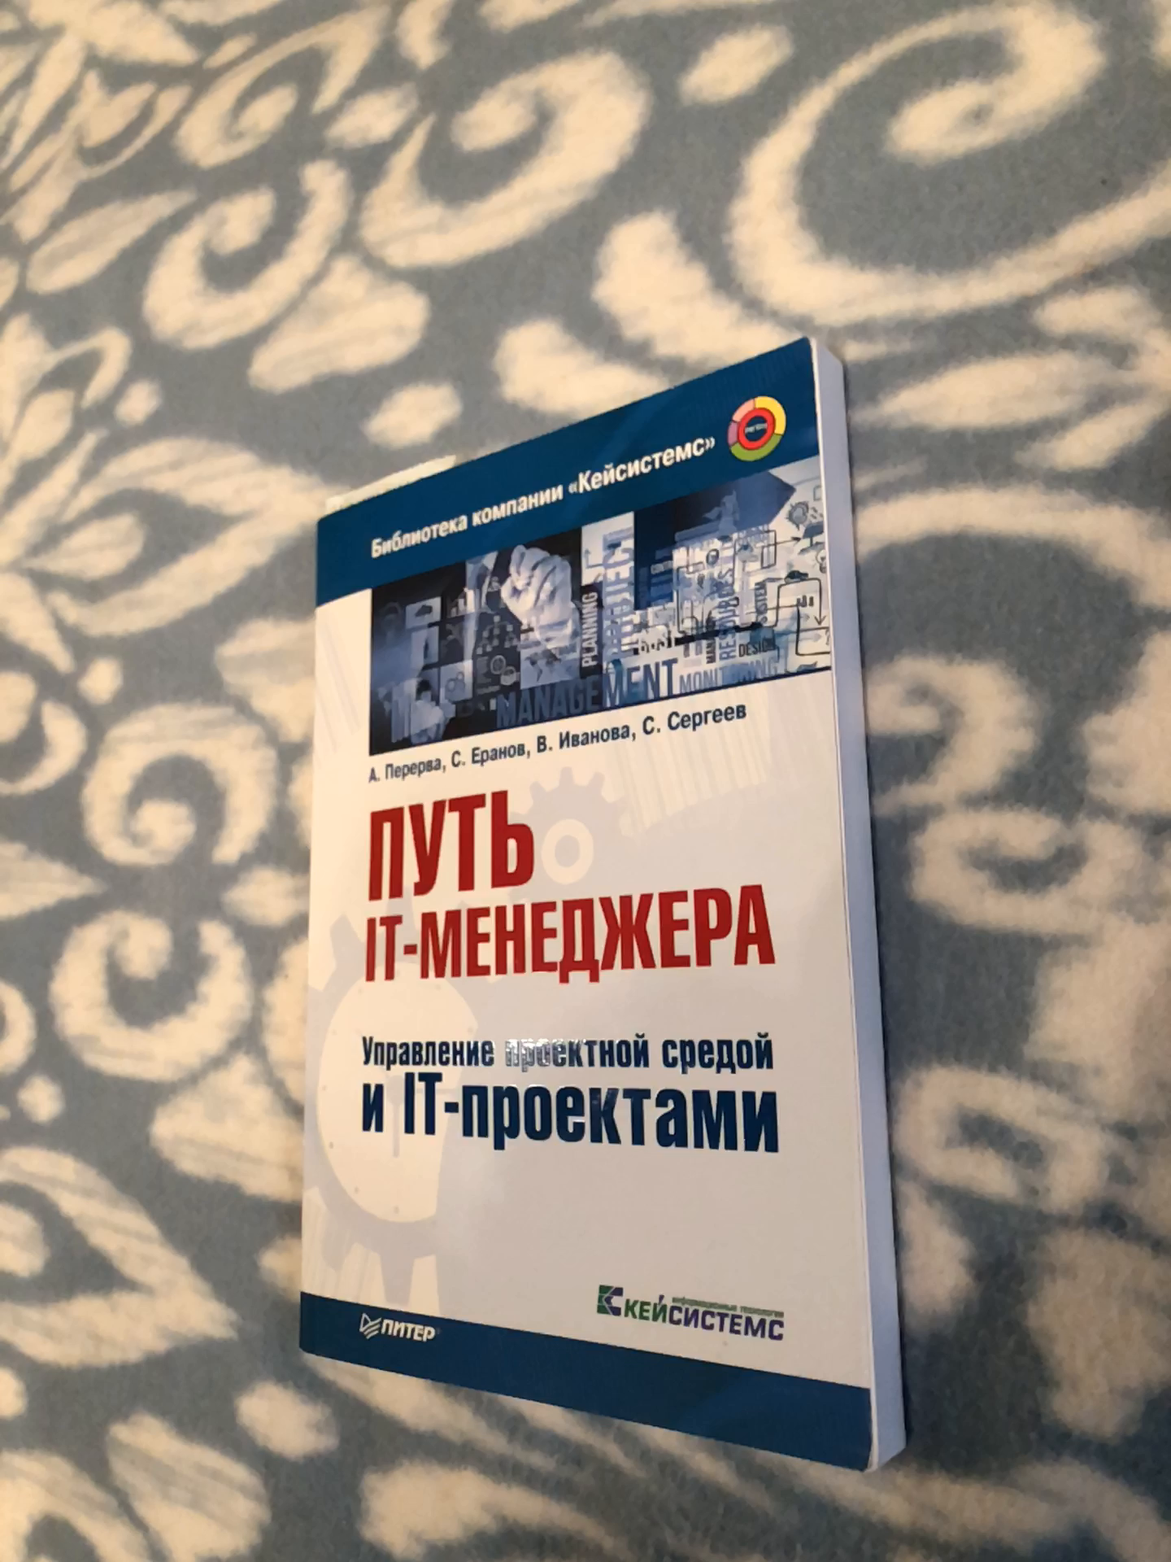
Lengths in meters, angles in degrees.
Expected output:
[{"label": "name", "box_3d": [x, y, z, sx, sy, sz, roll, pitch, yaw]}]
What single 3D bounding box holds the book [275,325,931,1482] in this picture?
[{"label": "book", "box_3d": [-0.010, 0.027, 0.316, 0.173, 0.019, 0.228, -9, 77, 37]}]
